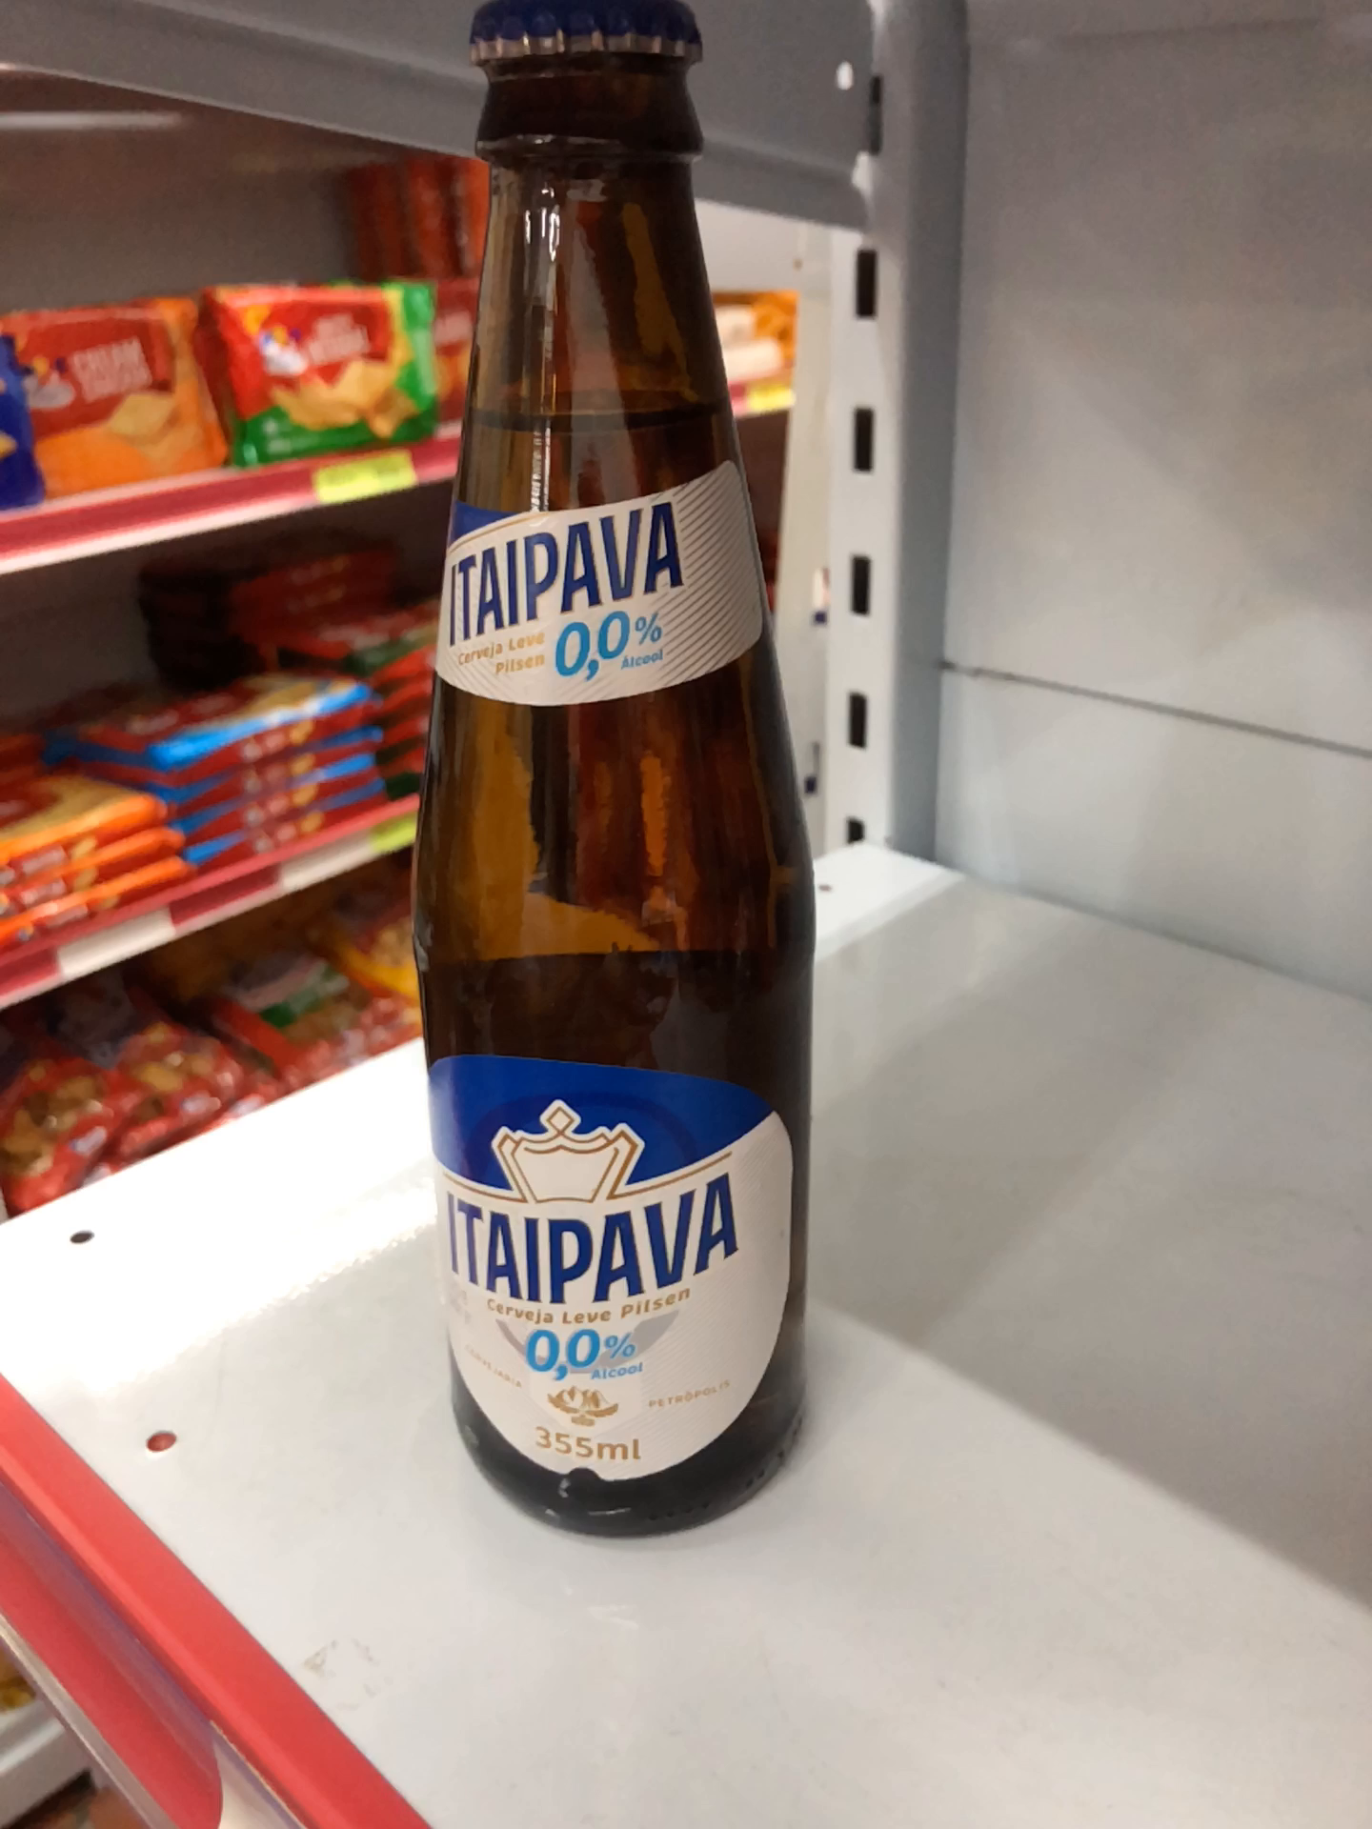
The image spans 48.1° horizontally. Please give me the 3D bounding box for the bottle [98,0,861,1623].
[{"bbox_3d":[-0.013,-0.011,0.203,0.060,0.208,0.060,-2,25,1],"label":"bottle"}]
